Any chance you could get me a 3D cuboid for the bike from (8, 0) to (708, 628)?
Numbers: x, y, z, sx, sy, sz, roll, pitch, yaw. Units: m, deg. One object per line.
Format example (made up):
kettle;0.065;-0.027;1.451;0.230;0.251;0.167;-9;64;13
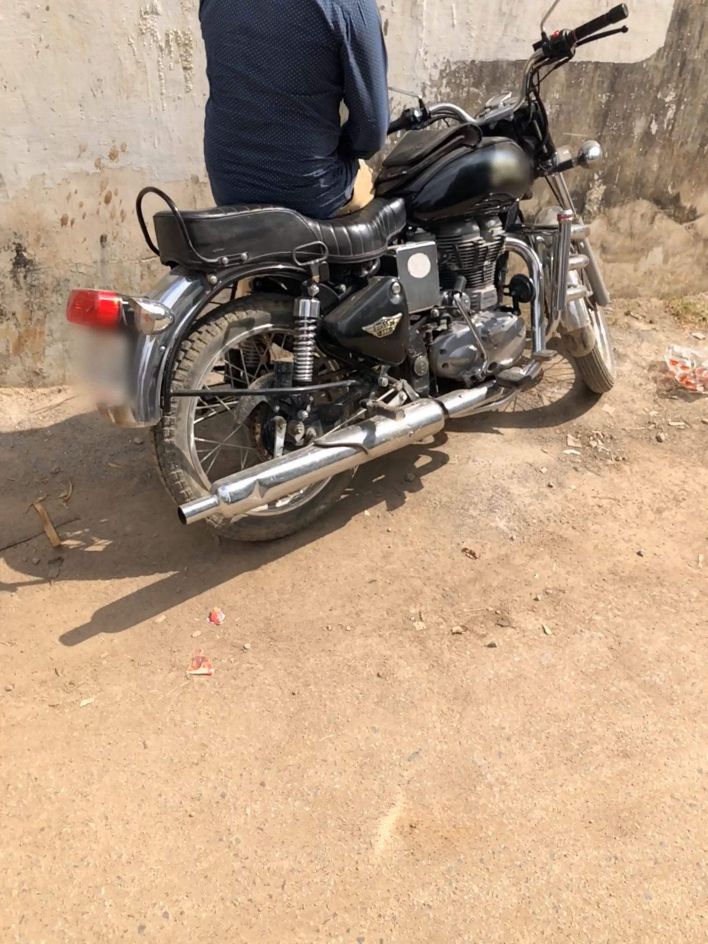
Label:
bike;0.147;-0.770;2.388;1.942;1.317;0.882;-27;43;-35
